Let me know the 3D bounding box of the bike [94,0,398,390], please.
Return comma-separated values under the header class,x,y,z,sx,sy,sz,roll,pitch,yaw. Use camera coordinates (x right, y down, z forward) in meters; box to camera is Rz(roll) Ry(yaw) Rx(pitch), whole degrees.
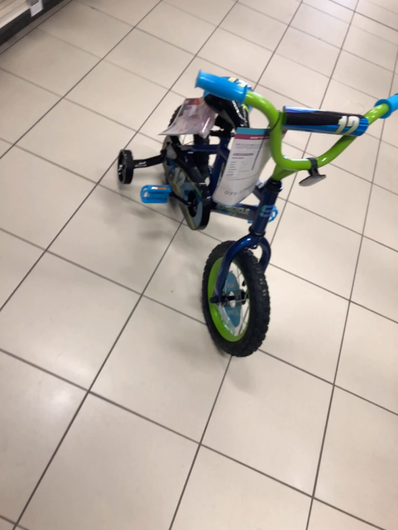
class,x,y,z,sx,sy,sz,roll,pitch,yaw
bike,0.078,-0.235,1.097,0.548,0.675,0.797,-6,60,-19
